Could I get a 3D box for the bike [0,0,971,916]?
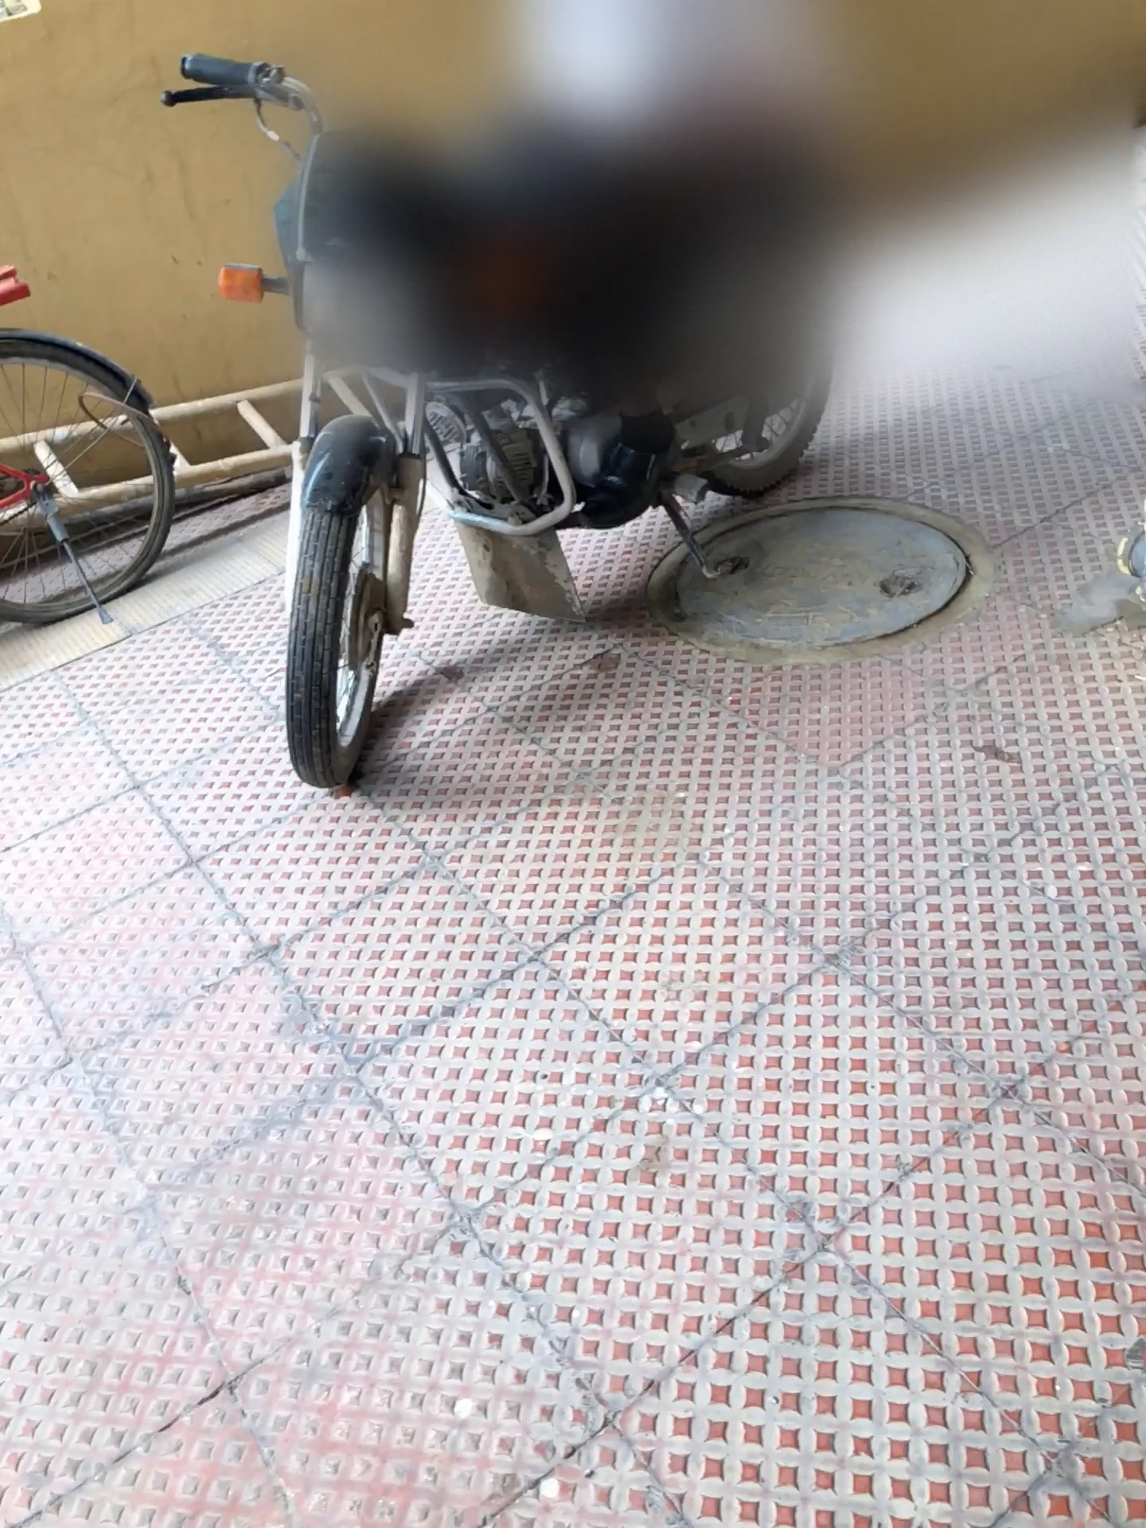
[{"bbox_3d":[-0.023,-0.734,2.210,0.760,0.974,1.605,19,47,35],"label":"bike"}]
